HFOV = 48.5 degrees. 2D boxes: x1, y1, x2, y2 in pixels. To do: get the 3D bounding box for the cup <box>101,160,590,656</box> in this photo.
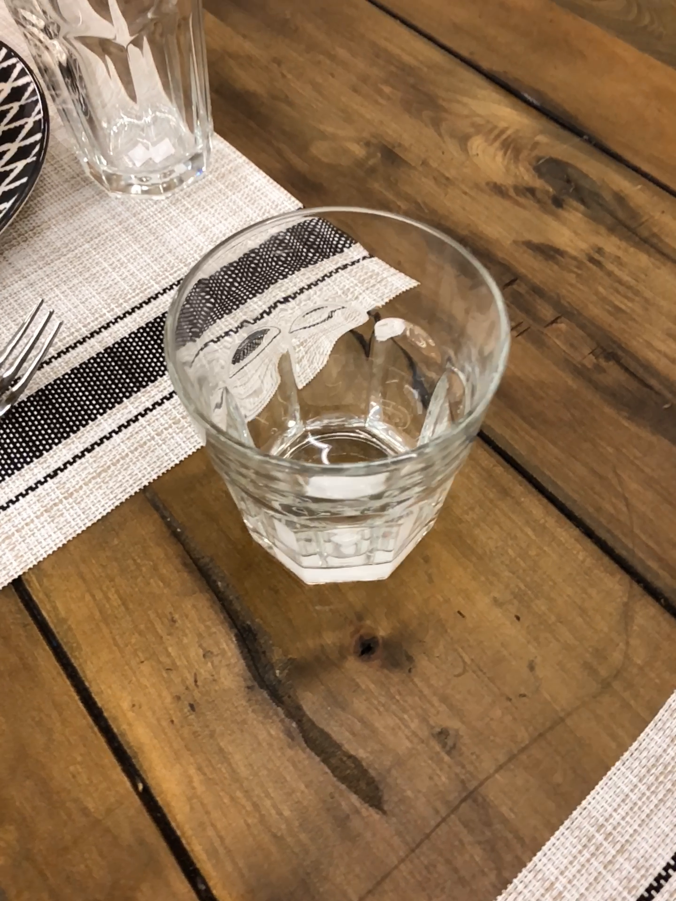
[{"bbox_3d":[-0.001,-0.011,0.217,0.090,0.081,0.087,-1,57,1],"label":"cup"}]
